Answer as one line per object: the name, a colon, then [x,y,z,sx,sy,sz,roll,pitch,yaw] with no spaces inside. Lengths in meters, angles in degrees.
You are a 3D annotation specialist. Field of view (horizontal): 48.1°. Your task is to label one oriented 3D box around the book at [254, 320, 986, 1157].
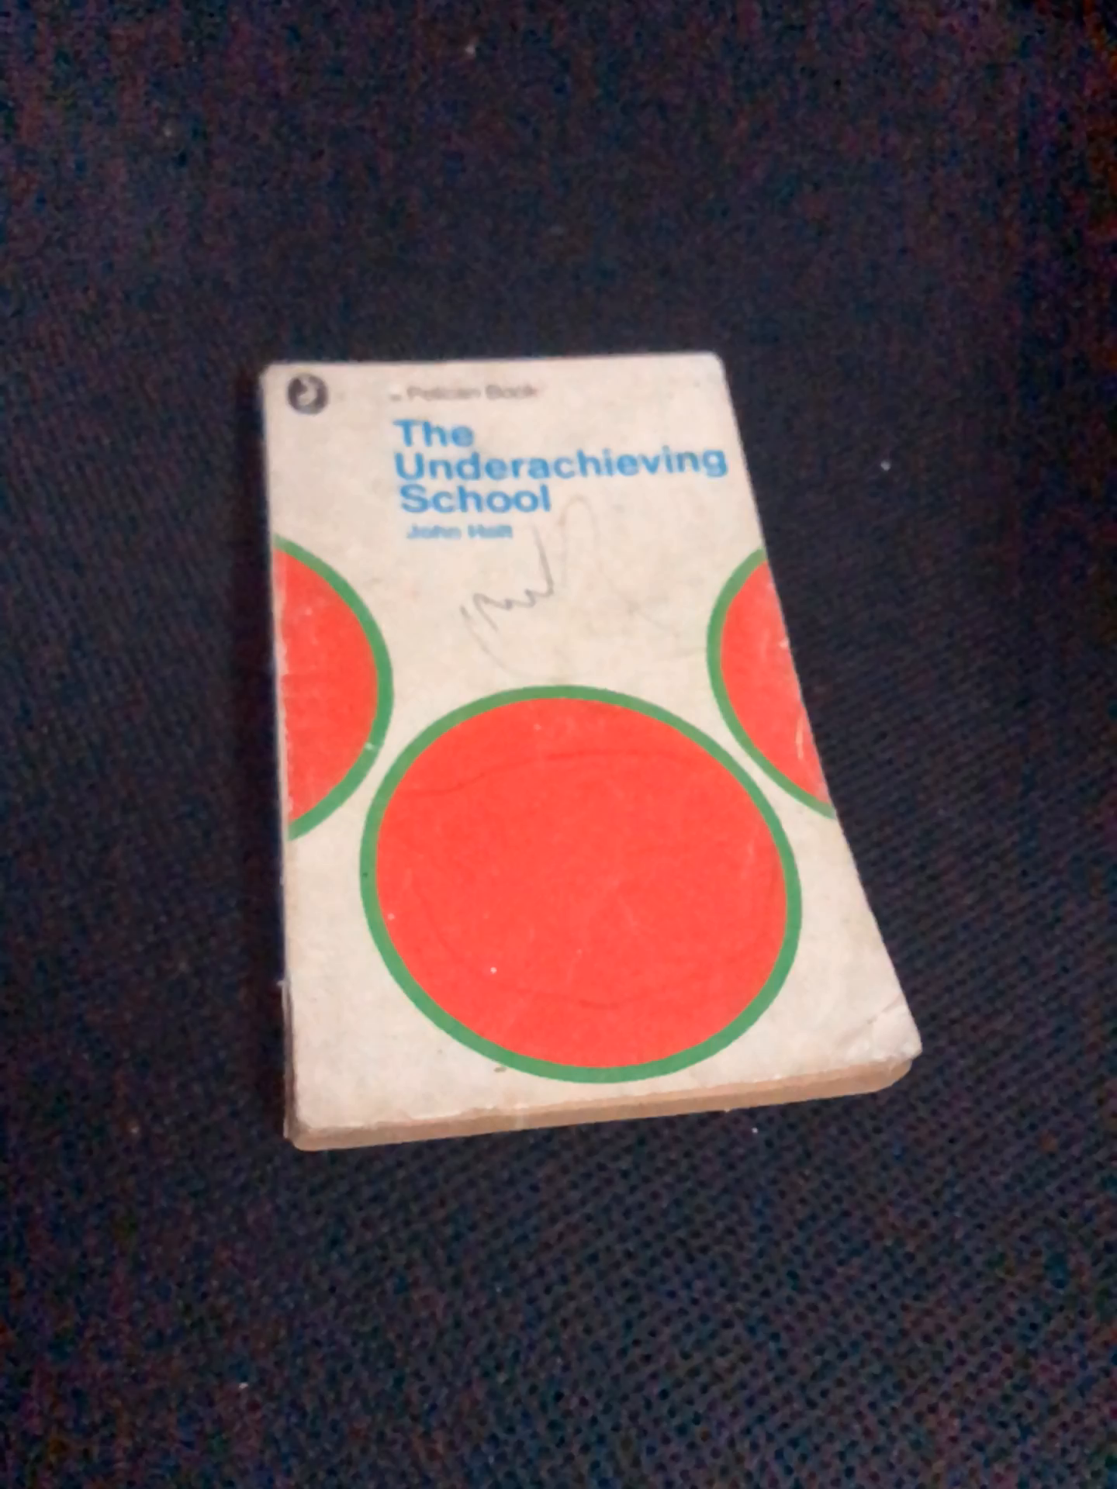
book: [0.001,-0.017,0.260,0.120,0.020,0.182,-3,60,-11]
